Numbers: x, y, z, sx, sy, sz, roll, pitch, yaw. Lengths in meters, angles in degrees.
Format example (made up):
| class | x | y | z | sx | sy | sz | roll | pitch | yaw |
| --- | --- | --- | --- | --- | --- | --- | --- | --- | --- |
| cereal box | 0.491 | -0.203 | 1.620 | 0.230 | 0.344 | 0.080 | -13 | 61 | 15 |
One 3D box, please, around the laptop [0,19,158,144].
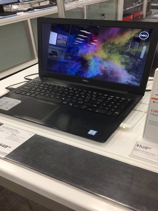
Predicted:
| class | x | y | z | sx | sy | sz | roll | pitch | yaw |
| --- | --- | --- | --- | --- | --- | --- | --- | --- | --- |
| laptop | -0.019 | -0.103 | 0.616 | 0.410 | 0.222 | 0.303 | 16 | 40 | 24 |
